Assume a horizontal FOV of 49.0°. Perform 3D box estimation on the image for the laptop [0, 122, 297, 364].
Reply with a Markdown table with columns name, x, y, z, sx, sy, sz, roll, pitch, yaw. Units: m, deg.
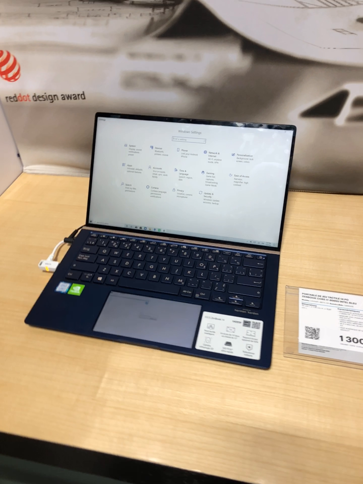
| name | x | y | z | sx | sy | sz | roll | pitch | yaw |
| --- | --- | --- | --- | --- | --- | --- | --- | --- | --- |
| laptop | -0.020 | -0.028 | 0.585 | 0.332 | 0.159 | 0.322 | 7 | 41 | 12 |
